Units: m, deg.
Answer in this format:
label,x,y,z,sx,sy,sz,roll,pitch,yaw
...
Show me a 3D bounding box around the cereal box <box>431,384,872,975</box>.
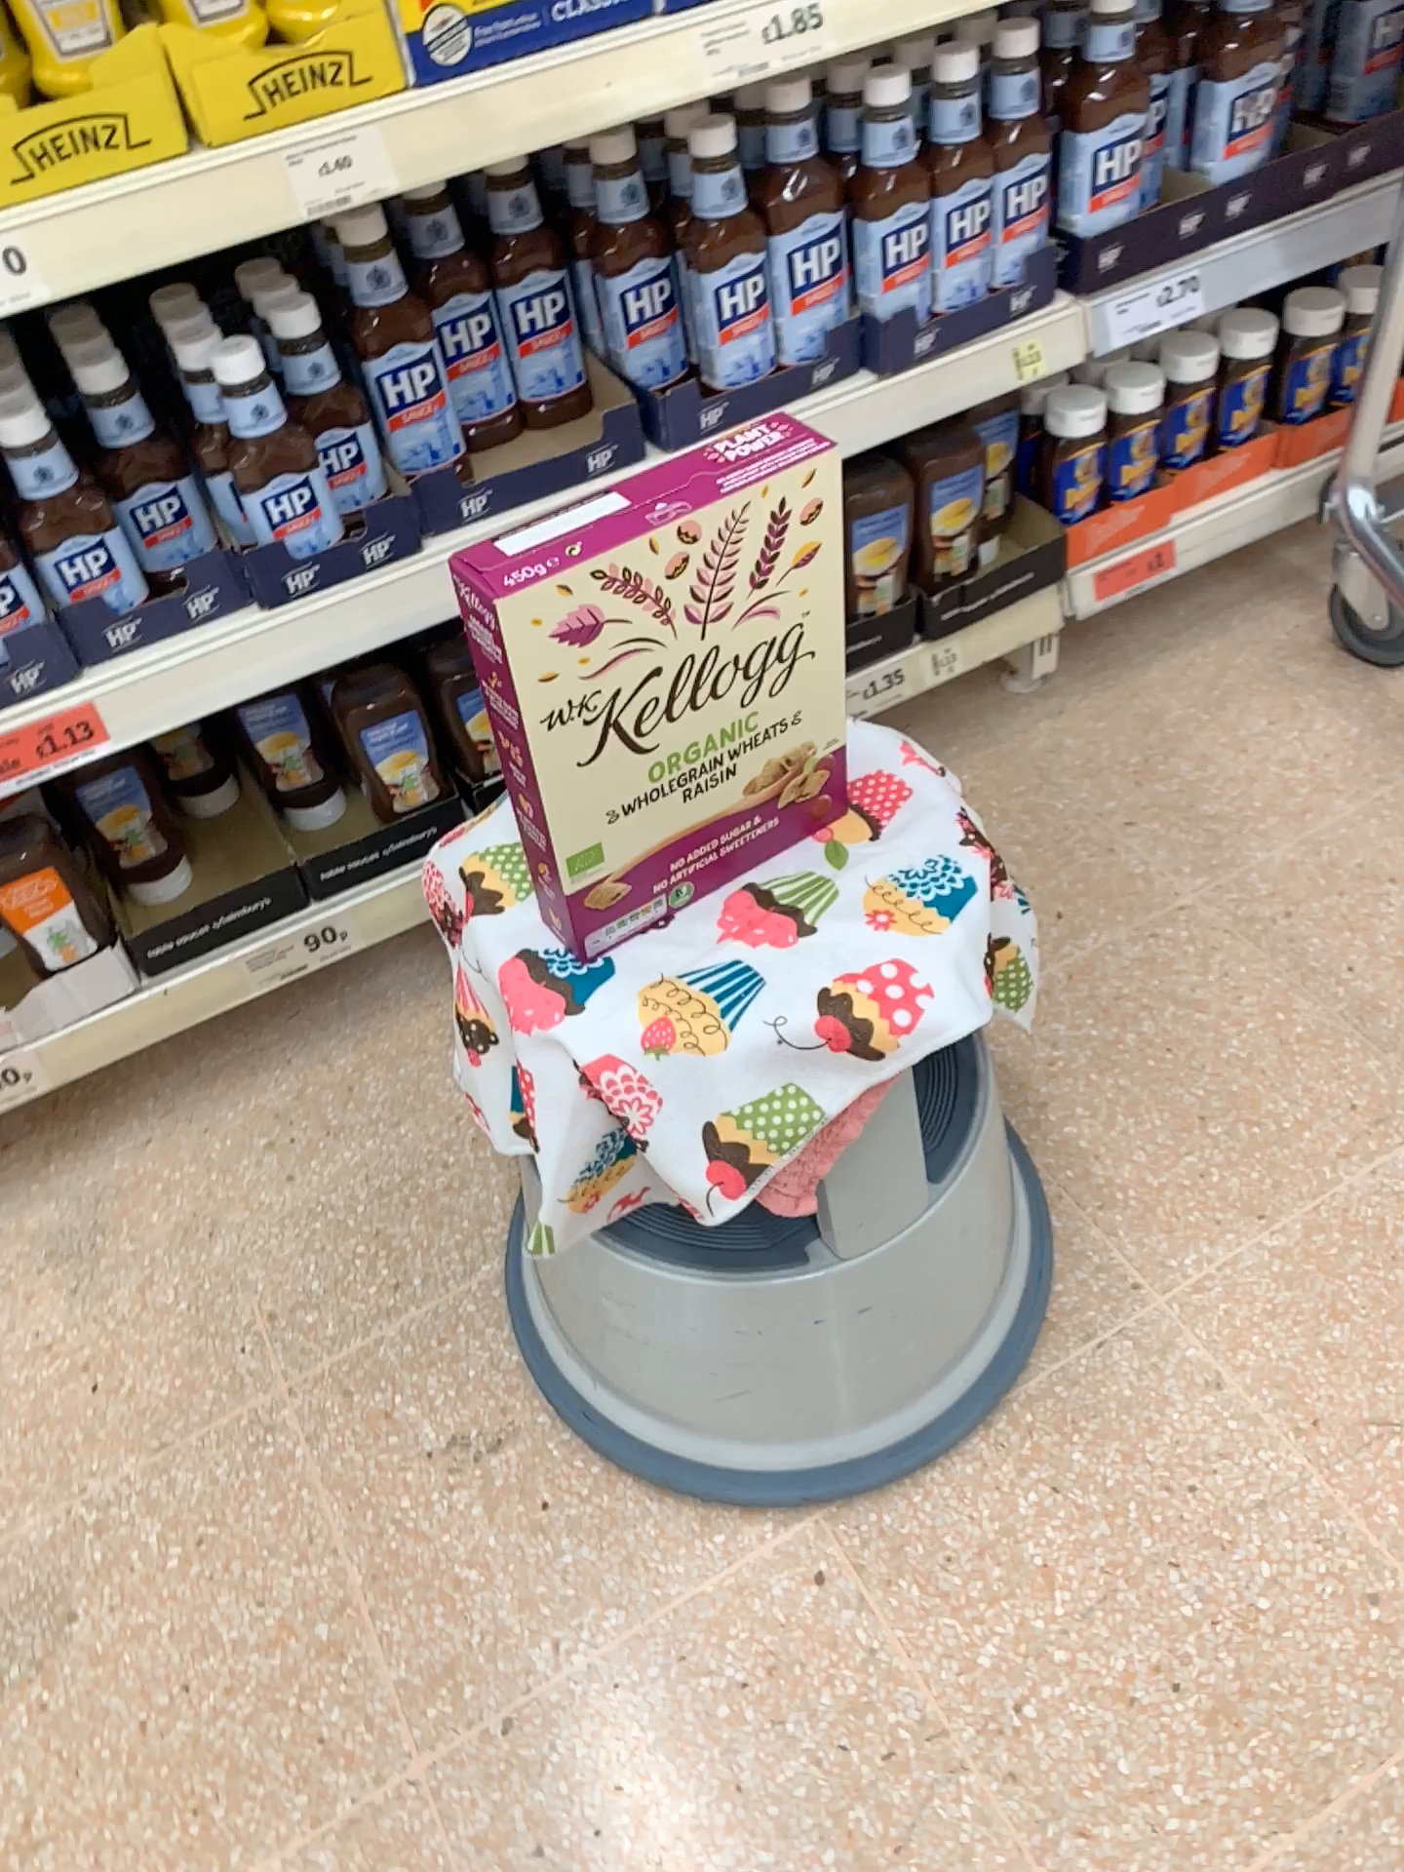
label,x,y,z,sx,sy,sz,roll,pitch,yaw
cereal box,-0.010,-0.124,0.746,0.200,0.248,0.050,-30,49,-18
